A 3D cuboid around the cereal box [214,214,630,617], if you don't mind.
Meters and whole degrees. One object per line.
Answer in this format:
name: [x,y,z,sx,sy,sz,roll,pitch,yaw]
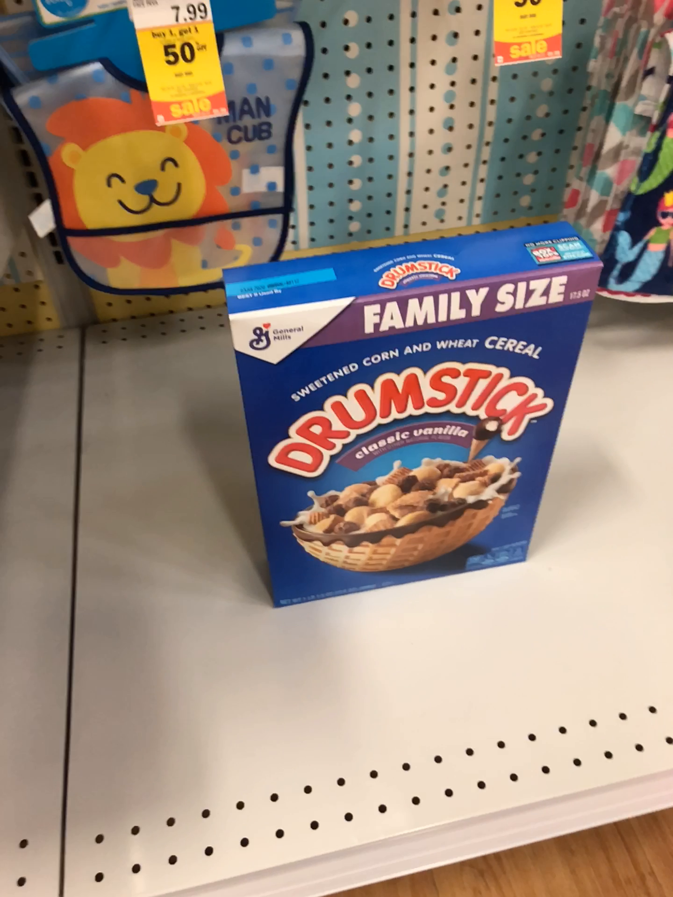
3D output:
cereal box: [0.057,-0.008,0.571,0.250,0.299,0.070,-10,45,-7]
